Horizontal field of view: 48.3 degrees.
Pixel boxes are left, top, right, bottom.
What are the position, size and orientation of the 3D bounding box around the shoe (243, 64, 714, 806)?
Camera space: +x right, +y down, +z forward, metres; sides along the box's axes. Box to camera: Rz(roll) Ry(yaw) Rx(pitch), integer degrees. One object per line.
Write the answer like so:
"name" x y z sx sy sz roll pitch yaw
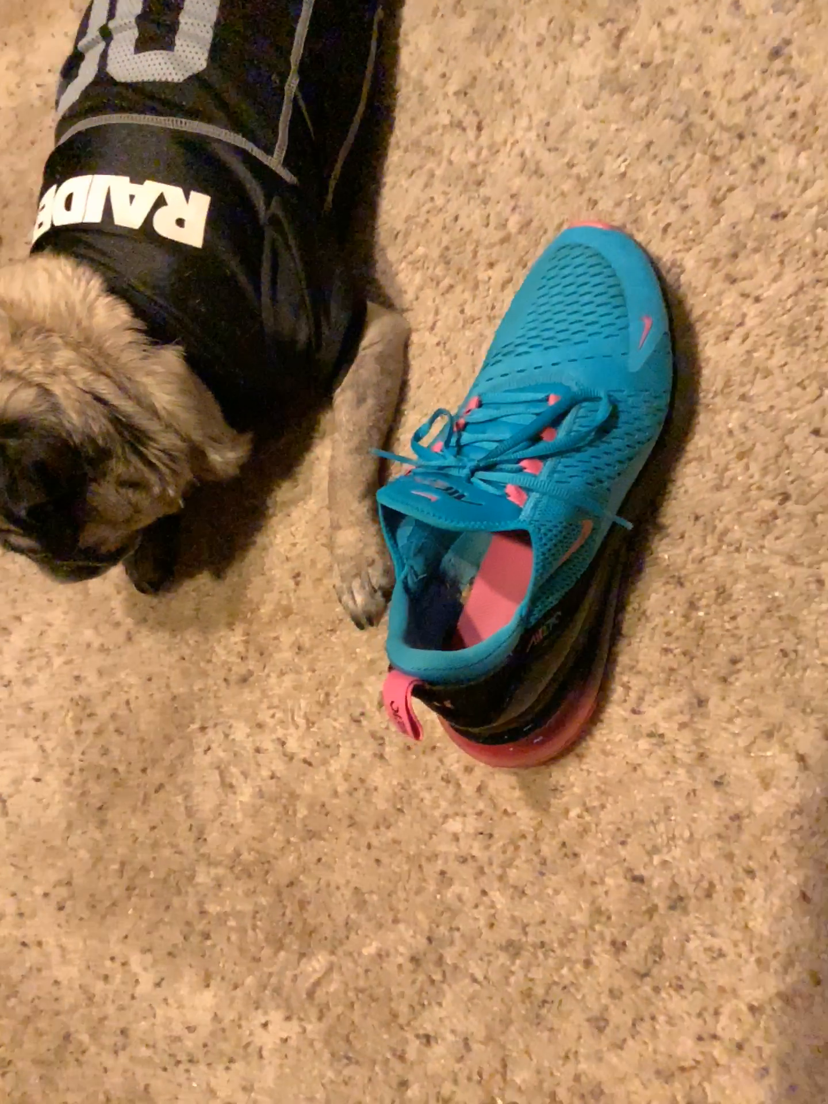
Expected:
"shoe" 0.045 -0.053 0.496 0.130 0.140 0.340 10 83 32
